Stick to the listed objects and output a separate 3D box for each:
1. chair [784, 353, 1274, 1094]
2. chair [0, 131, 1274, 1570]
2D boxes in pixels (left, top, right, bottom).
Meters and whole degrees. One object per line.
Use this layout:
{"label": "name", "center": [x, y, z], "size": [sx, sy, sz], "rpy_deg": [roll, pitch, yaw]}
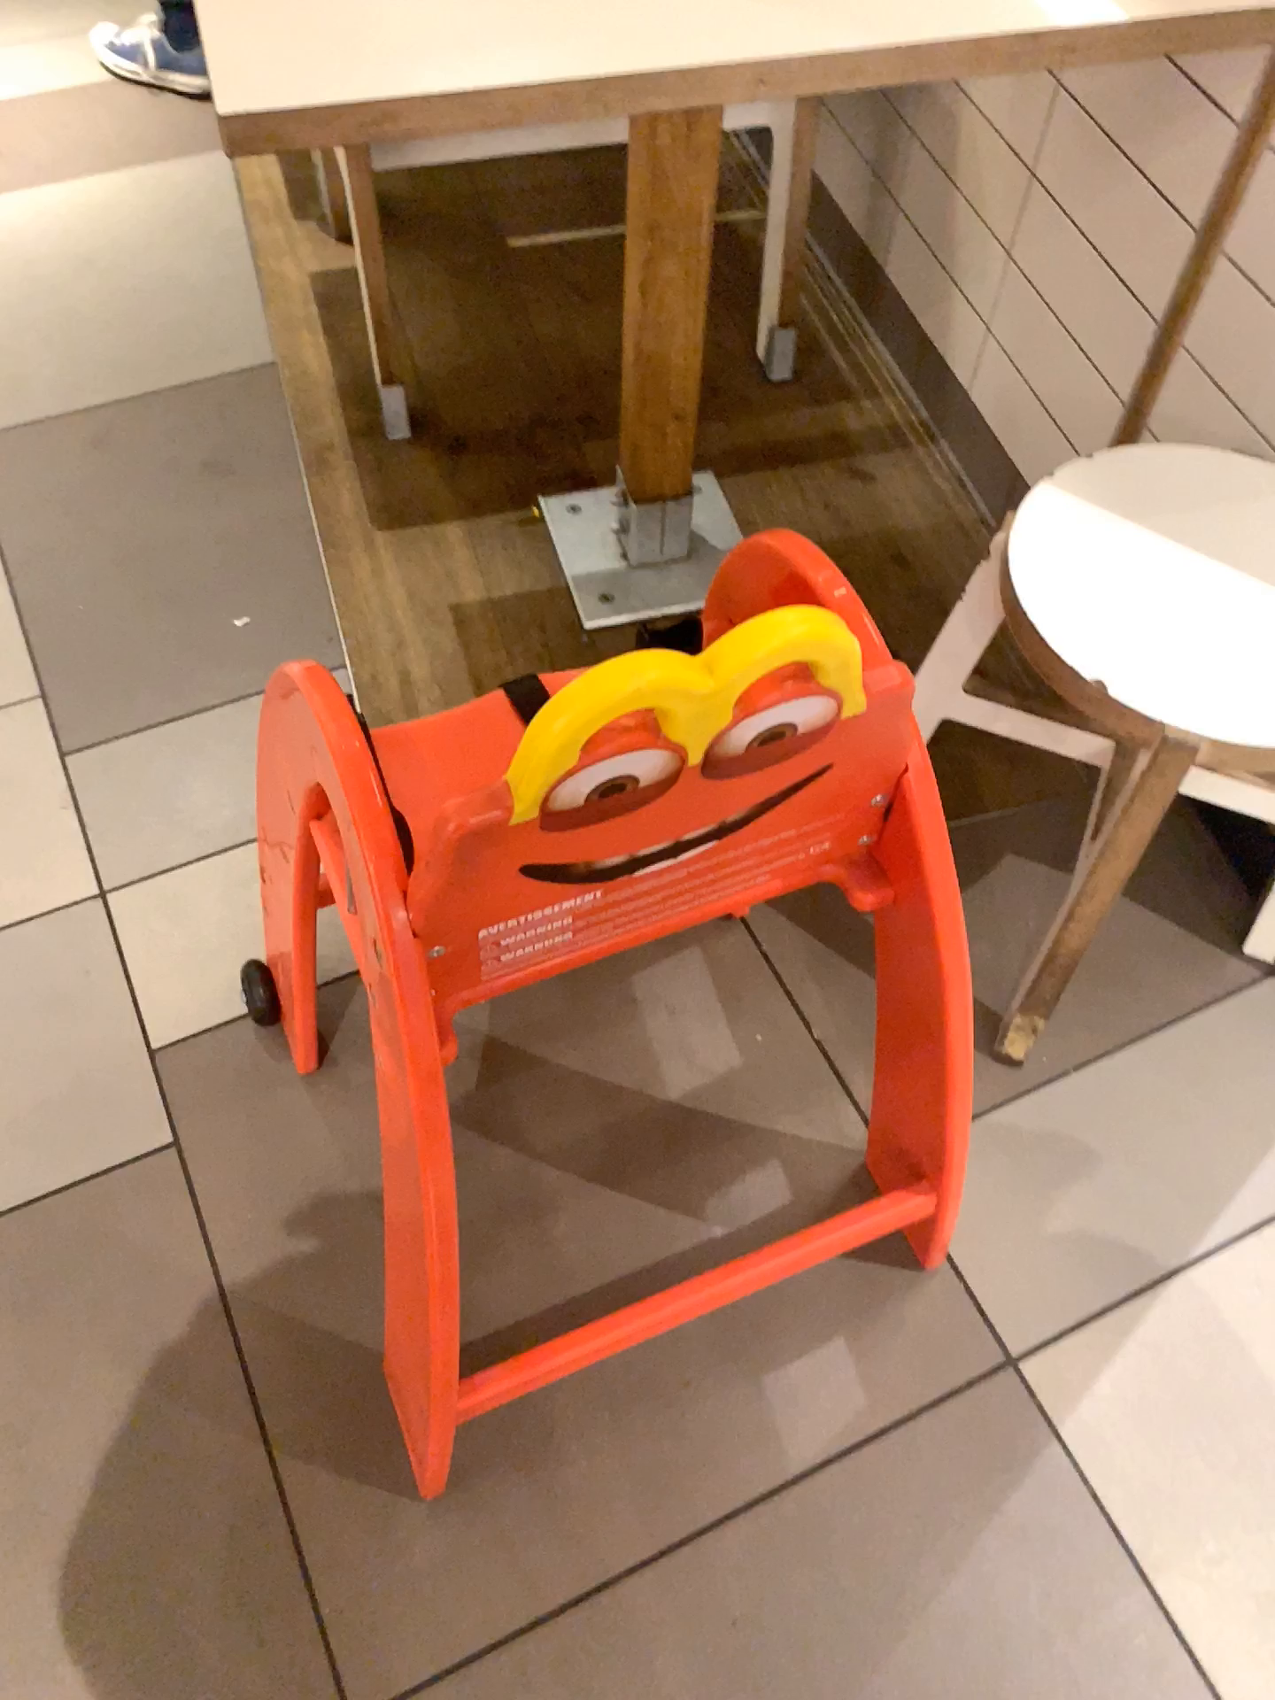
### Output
{"label": "chair", "center": [0.387, -0.097, 1.136], "size": [0.320, 0.446, 0.372], "rpy_deg": [-20, 59, -16]}
{"label": "chair", "center": [-0.038, 0.024, 0.905], "size": [0.581, 0.655, 0.584], "rpy_deg": [-20, 59, -16]}
